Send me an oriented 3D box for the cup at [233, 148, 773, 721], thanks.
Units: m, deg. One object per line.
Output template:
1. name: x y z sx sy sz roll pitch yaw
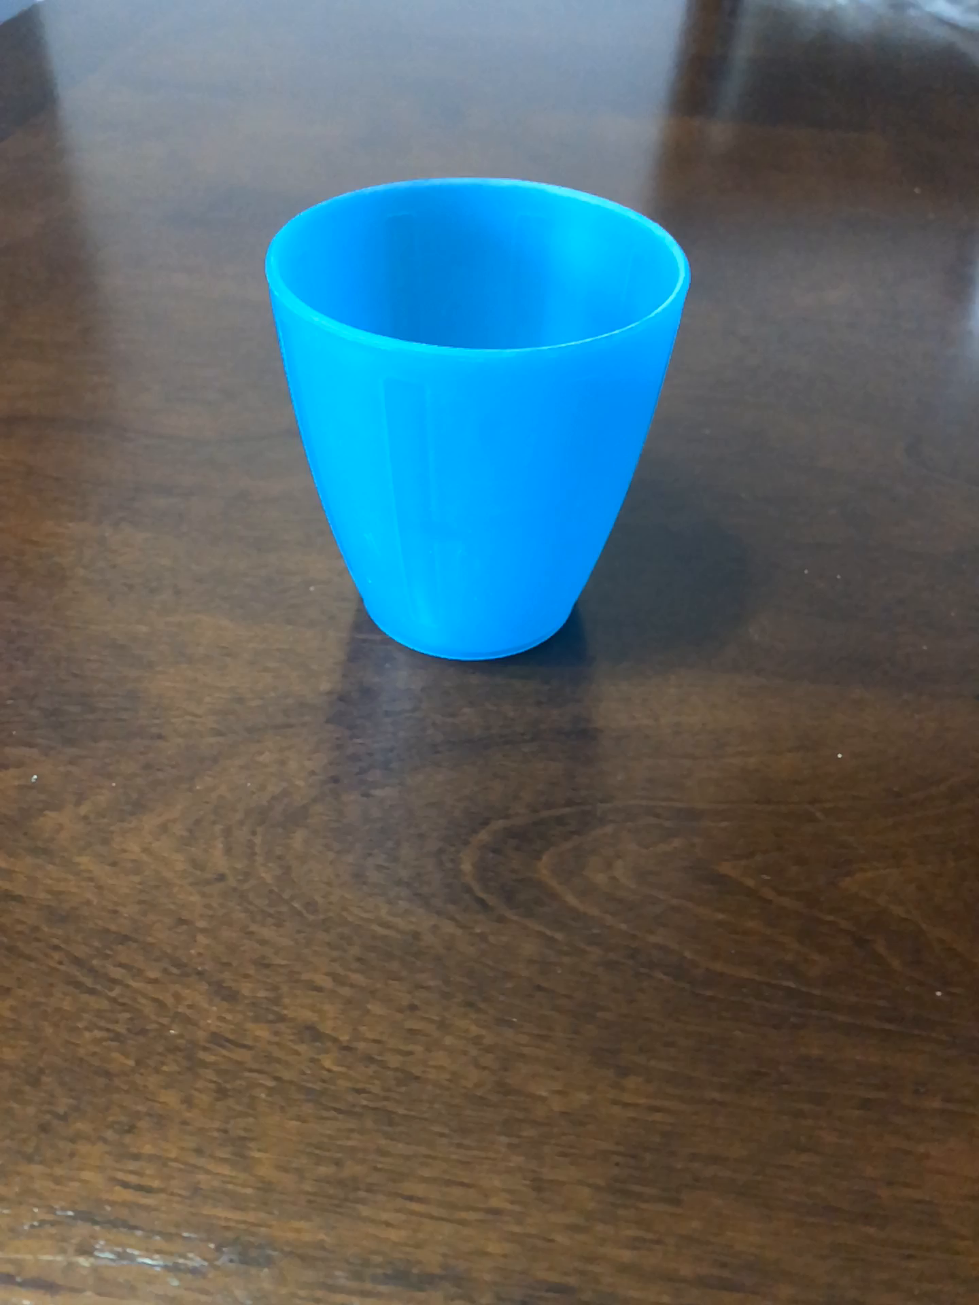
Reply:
1. cup: -0.004 -0.044 0.216 0.080 0.080 0.070 -6 43 -10
